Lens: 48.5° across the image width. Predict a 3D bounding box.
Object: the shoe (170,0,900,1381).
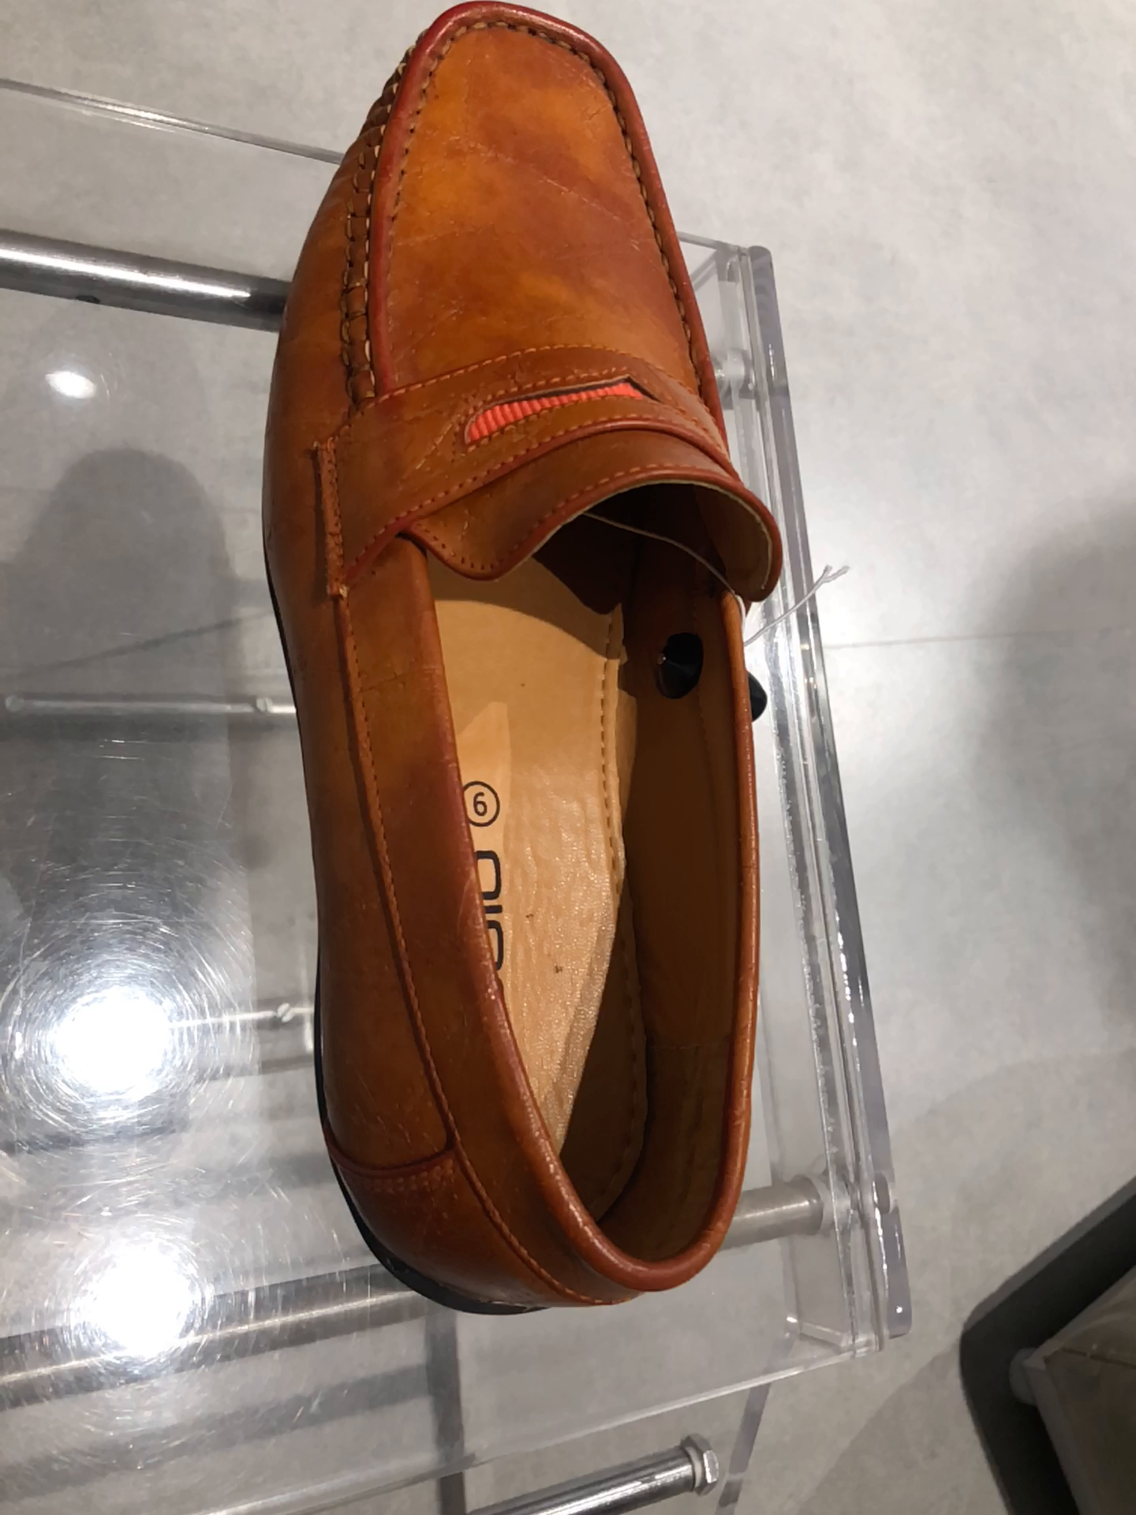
[{"bbox_3d":[-0.018,-0.045,0.268,0.110,0.090,0.290,3,77,-27],"label":"shoe"}]
